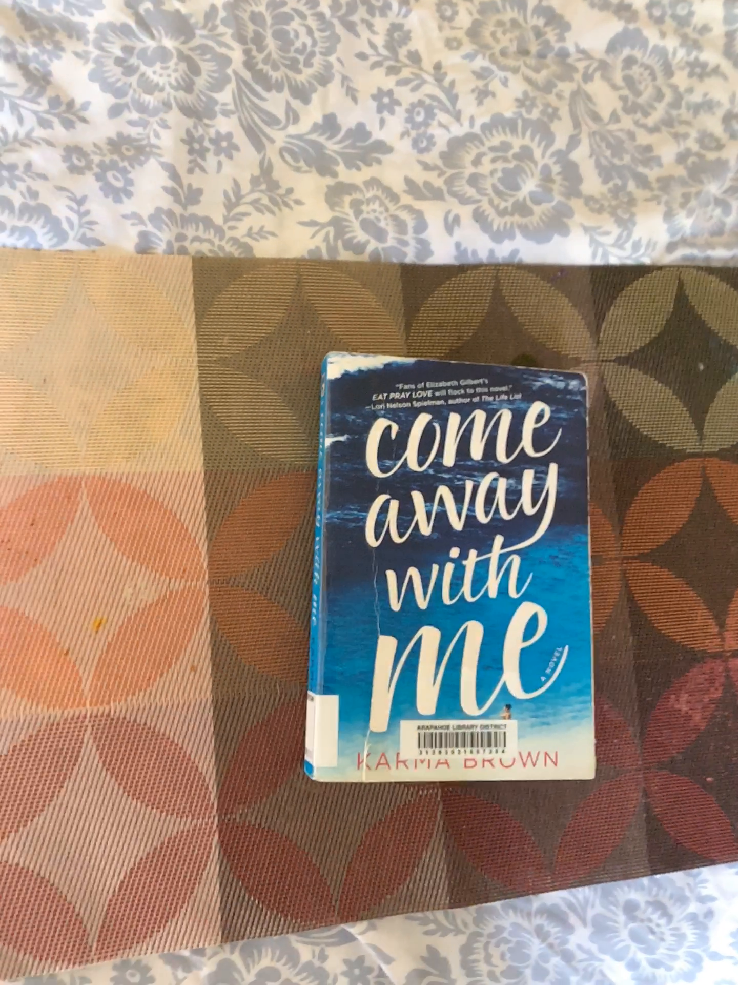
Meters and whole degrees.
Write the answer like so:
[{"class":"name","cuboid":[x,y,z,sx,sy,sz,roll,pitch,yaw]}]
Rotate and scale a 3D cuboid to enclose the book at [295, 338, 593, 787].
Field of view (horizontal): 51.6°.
[{"class":"book","cuboid":[0.037,0.033,0.365,0.134,0.030,0.200,3,82,-9]}]
